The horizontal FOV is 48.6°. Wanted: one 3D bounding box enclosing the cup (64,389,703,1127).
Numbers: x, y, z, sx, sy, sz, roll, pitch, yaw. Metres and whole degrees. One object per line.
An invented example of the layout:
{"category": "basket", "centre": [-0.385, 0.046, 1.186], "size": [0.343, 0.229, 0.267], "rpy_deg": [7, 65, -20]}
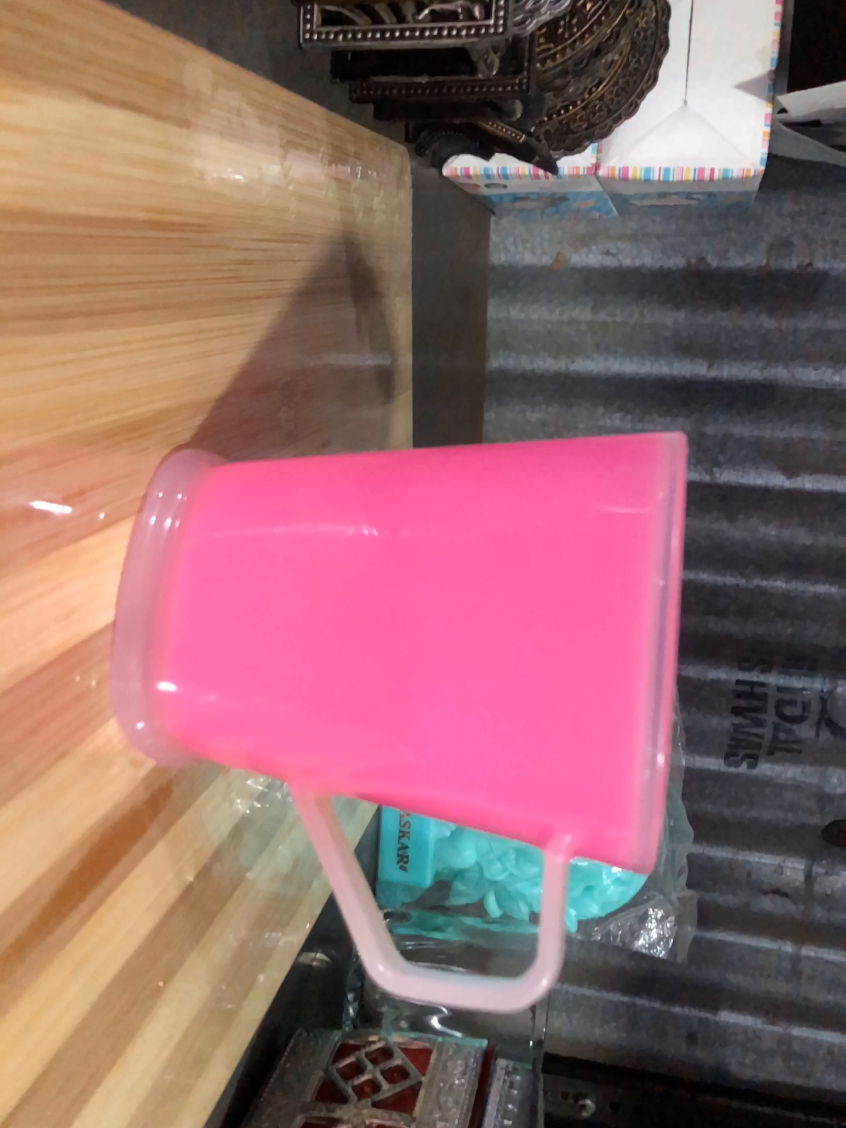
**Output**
{"category": "cup", "centre": [-0.001, 0.035, 0.195], "size": [0.070, 0.100, 0.120], "rpy_deg": [33, 63, -77]}
